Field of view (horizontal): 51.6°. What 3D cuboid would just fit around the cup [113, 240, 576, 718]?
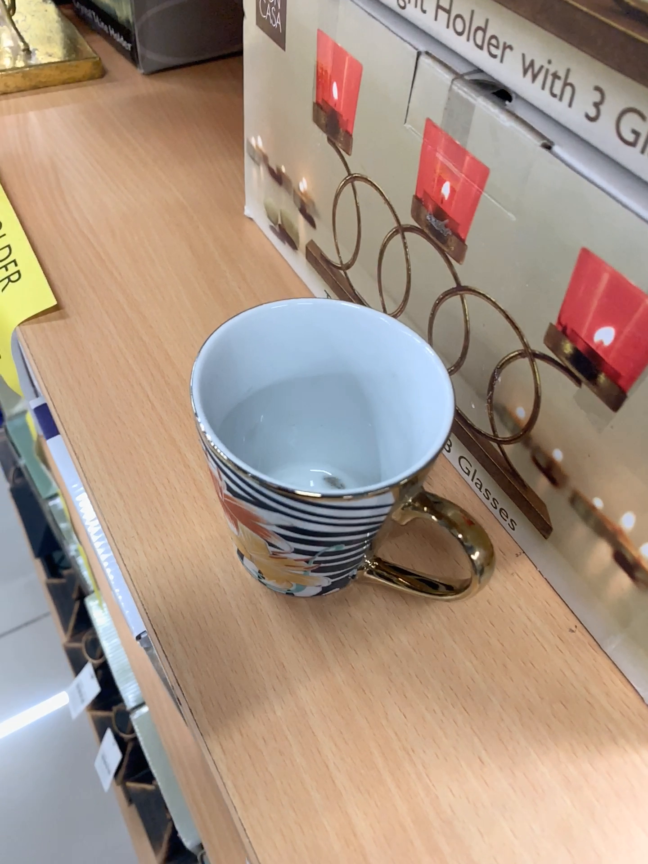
[{"bbox_3d":[0.001,0.013,0.204,0.070,0.080,0.100,-36,64,-30],"label":"cup"}]
